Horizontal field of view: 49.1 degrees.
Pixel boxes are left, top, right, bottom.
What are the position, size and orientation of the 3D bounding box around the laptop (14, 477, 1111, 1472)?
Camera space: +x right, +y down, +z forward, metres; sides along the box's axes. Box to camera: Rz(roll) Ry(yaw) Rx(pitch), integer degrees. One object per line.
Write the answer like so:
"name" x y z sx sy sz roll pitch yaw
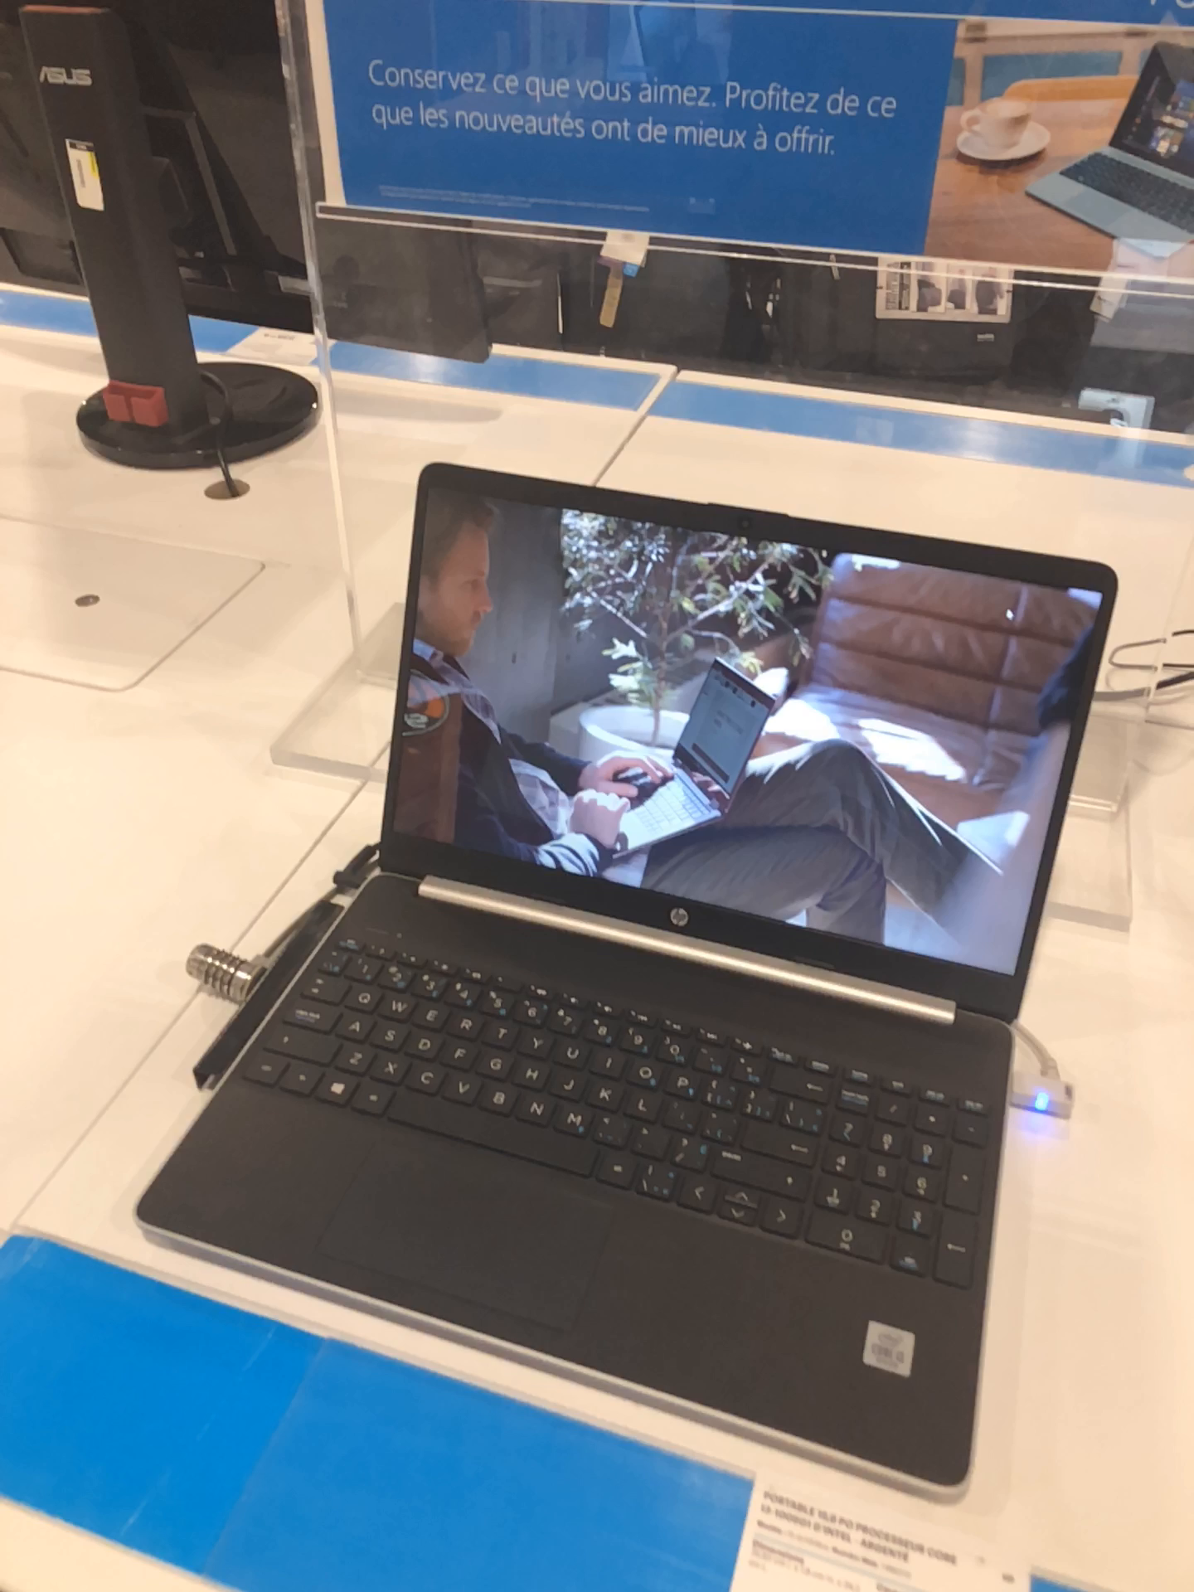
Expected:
"laptop" 0.022 0.040 0.586 0.346 0.196 0.335 12 39 14
